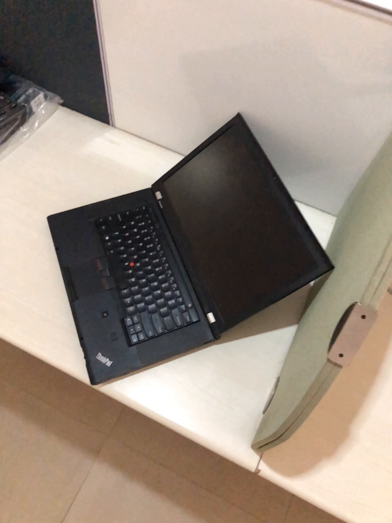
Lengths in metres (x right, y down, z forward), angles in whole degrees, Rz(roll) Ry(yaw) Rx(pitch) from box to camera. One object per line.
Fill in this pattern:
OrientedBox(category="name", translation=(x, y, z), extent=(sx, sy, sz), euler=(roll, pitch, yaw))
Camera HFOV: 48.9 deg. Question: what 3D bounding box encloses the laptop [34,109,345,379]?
OrientedBox(category="laptop", translation=(-0.034, -0.046, 0.769), extent=(0.411, 0.142, 0.354), euler=(-18, 62, -9))
